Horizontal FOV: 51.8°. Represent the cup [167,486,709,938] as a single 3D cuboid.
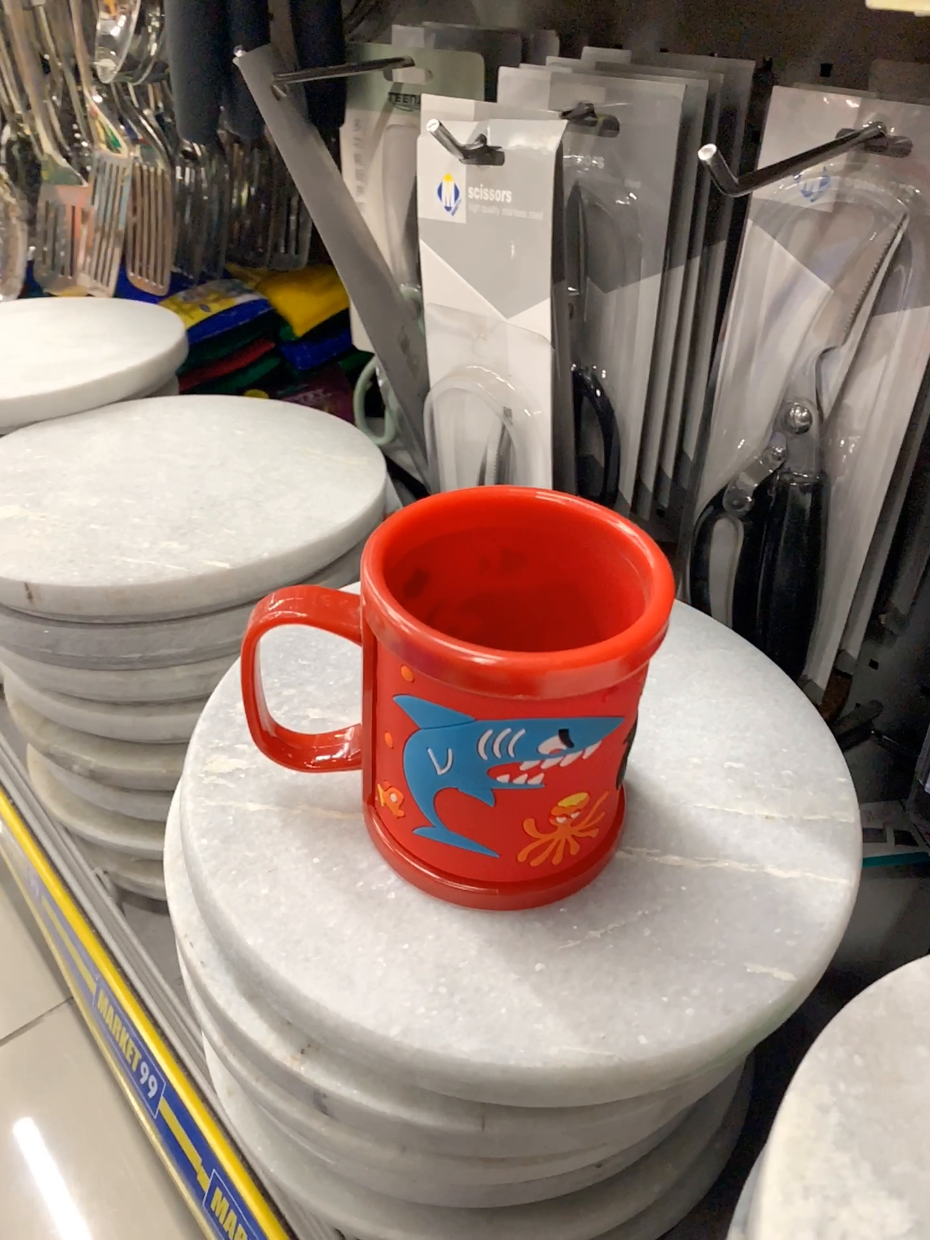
[{"bbox_3d":[-0.006,0.025,0.273,0.120,0.100,0.080,0,35,0],"label":"cup"}]
